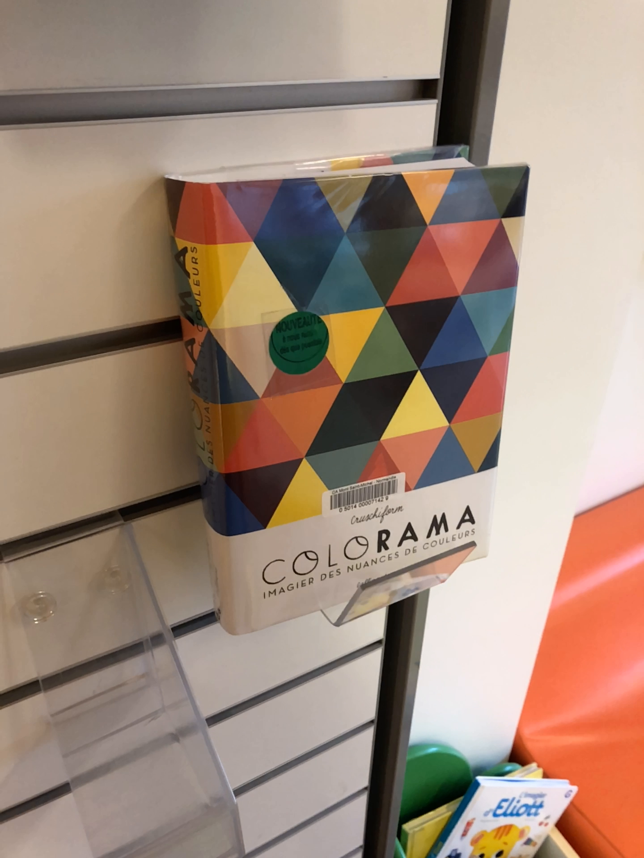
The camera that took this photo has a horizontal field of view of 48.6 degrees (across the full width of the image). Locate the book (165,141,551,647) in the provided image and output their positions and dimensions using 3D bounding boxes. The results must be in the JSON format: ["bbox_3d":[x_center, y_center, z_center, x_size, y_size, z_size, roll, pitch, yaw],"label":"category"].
[{"bbox_3d":[0.022,-0.019,0.367,0.171,0.231,0.046,-12,27,-22],"label":"book"}]
